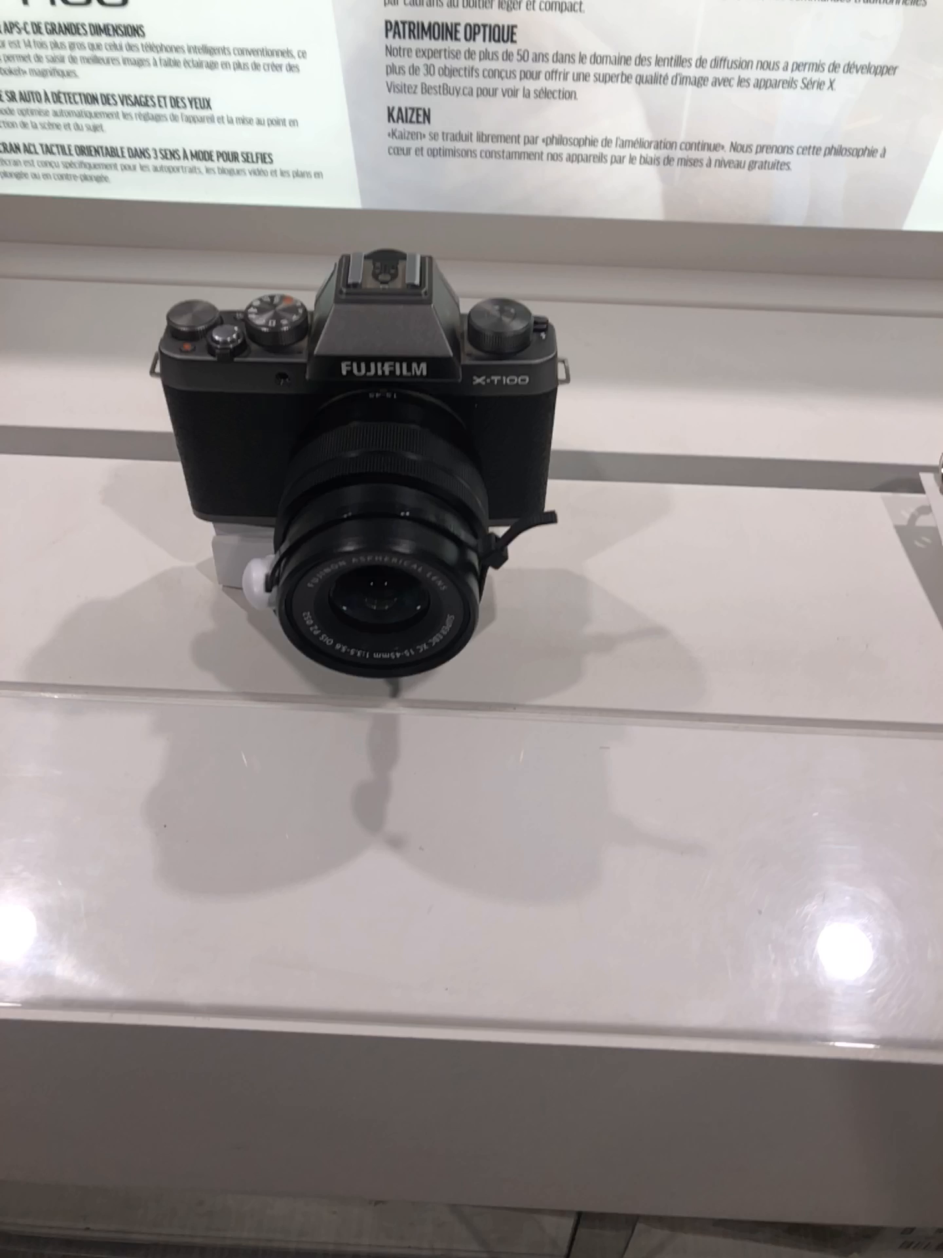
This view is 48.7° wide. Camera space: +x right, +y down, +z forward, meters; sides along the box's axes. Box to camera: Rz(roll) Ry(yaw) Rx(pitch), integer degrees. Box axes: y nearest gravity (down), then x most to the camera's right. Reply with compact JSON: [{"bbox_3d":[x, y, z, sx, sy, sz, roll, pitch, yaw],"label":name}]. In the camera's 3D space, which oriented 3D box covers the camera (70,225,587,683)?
[{"bbox_3d":[-0.036,-0.057,0.335,0.130,0.099,0.108,1,44,0],"label":"camera"}]
